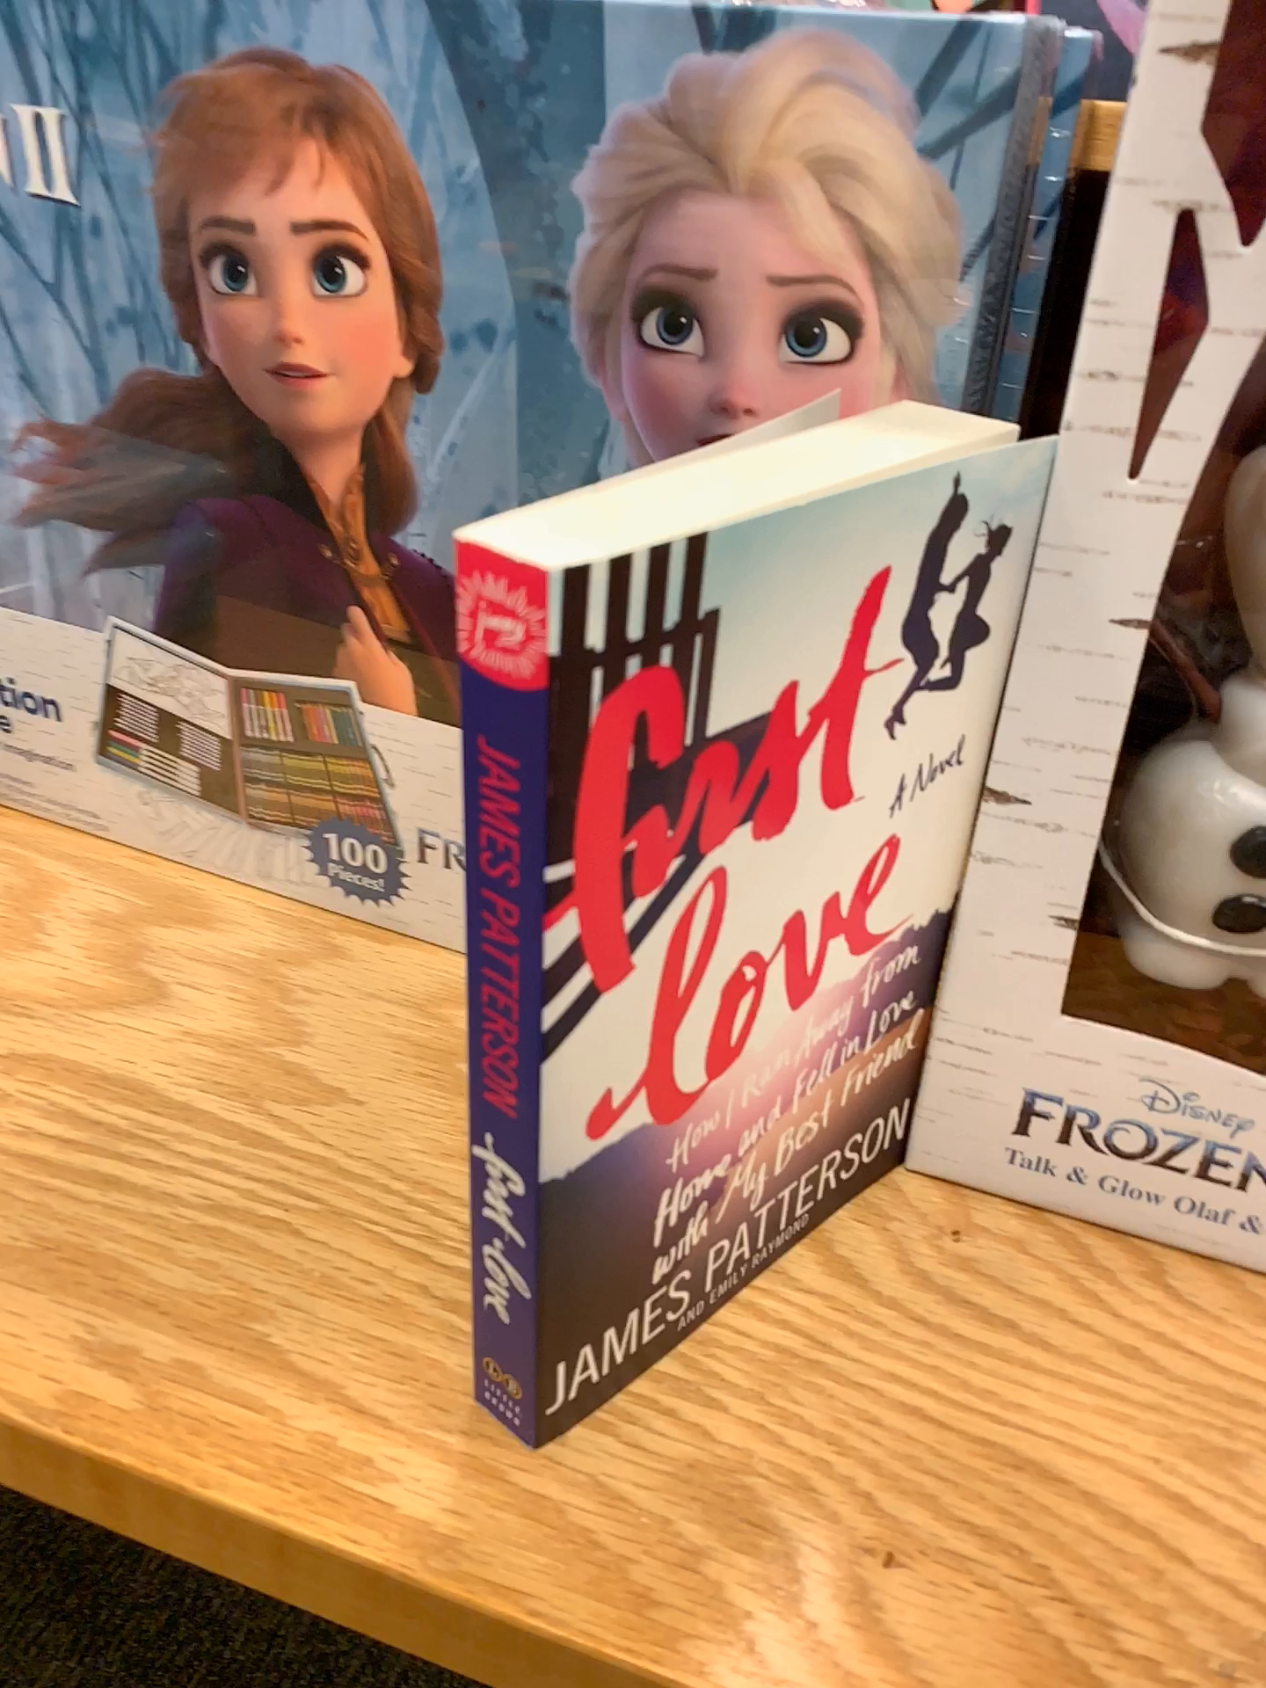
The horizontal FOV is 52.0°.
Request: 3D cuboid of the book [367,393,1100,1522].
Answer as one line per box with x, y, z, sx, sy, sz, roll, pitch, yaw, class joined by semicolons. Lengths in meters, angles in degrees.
0.024;0.019;0.290;0.059;0.205;0.142;25;37;36;book
